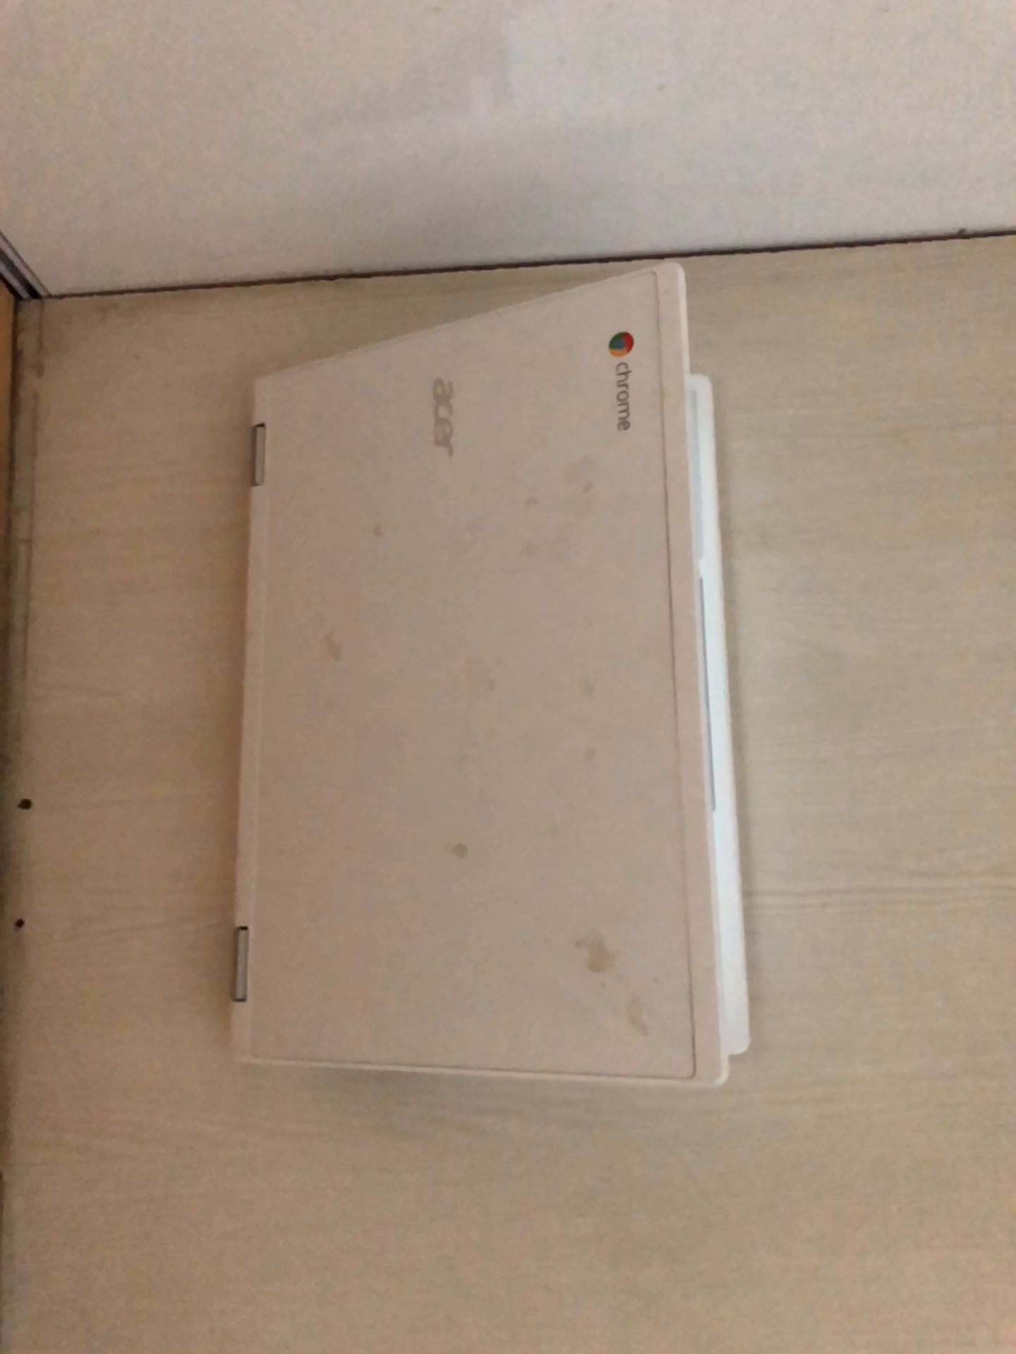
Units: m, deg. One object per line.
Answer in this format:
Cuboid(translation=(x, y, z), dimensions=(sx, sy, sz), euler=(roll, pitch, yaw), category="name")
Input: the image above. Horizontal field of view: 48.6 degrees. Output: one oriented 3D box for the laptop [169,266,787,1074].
Cuboid(translation=(-0.011, 0.000, 0.437), dimensions=(0.200, 0.093, 0.283), euler=(-2, 78, 4), category="laptop")
